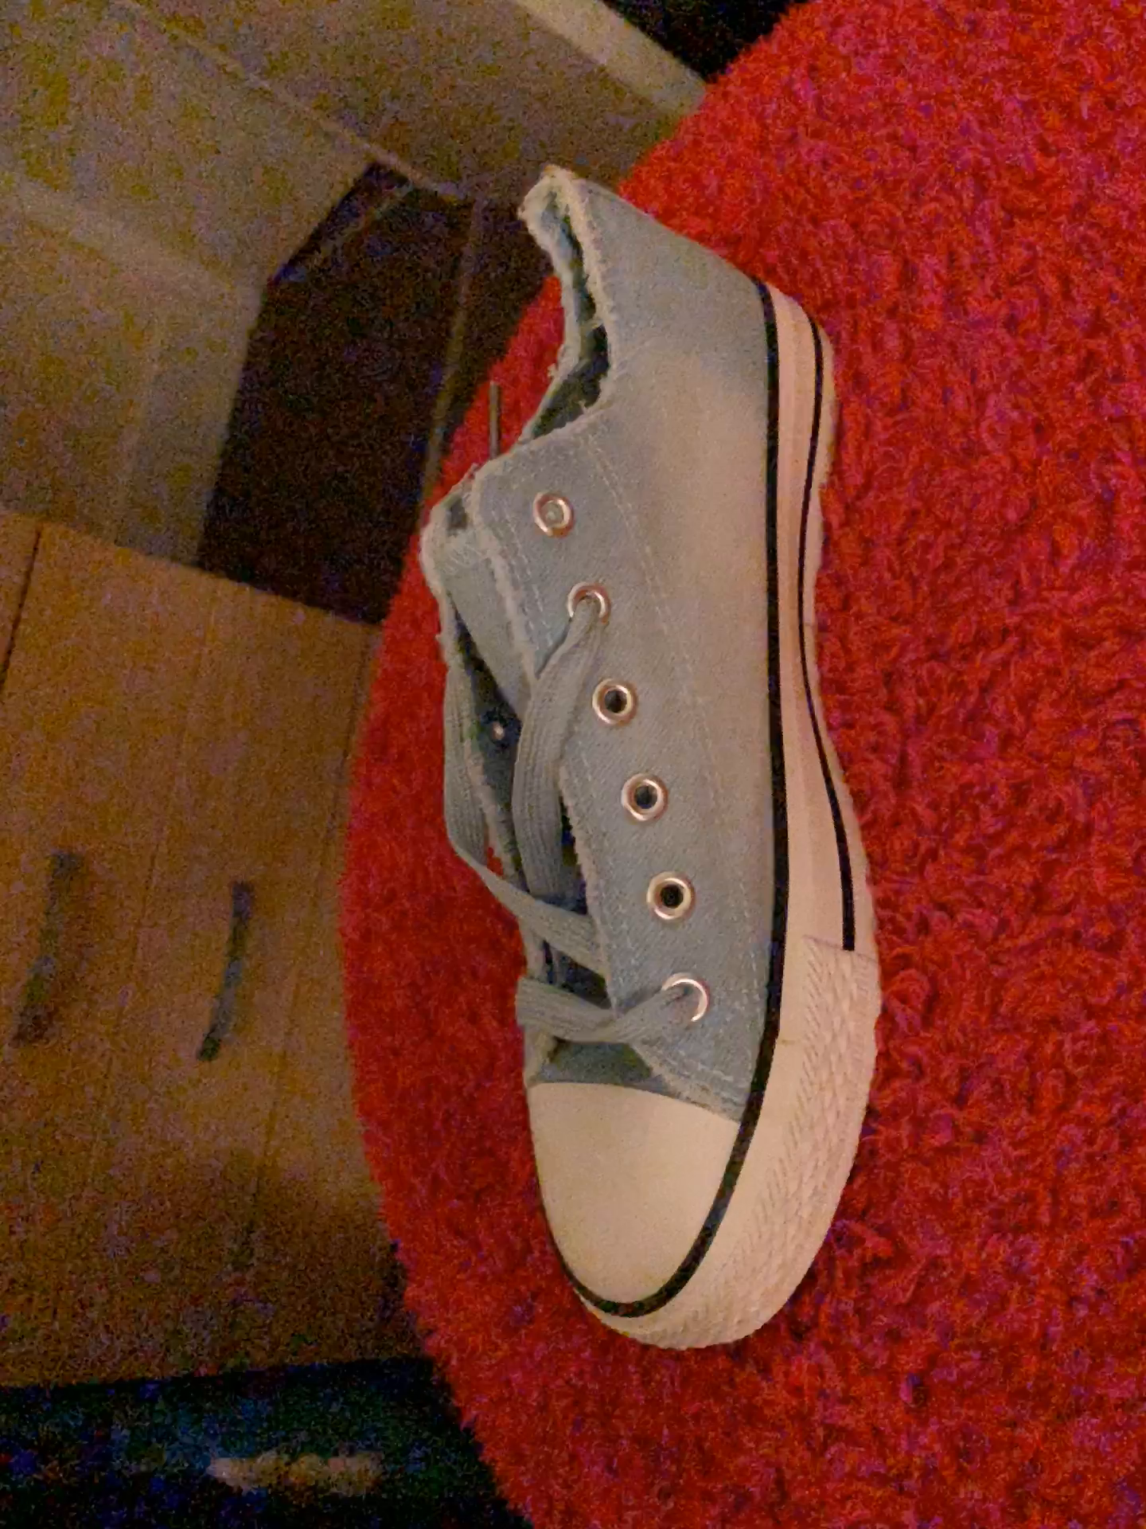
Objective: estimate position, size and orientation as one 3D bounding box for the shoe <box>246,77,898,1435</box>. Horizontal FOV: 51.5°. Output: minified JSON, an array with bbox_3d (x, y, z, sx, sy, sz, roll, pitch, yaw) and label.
[{"bbox_3d":[0.006,-0.003,0.271,0.098,0.086,0.250,-16,63,50],"label":"shoe"}]
